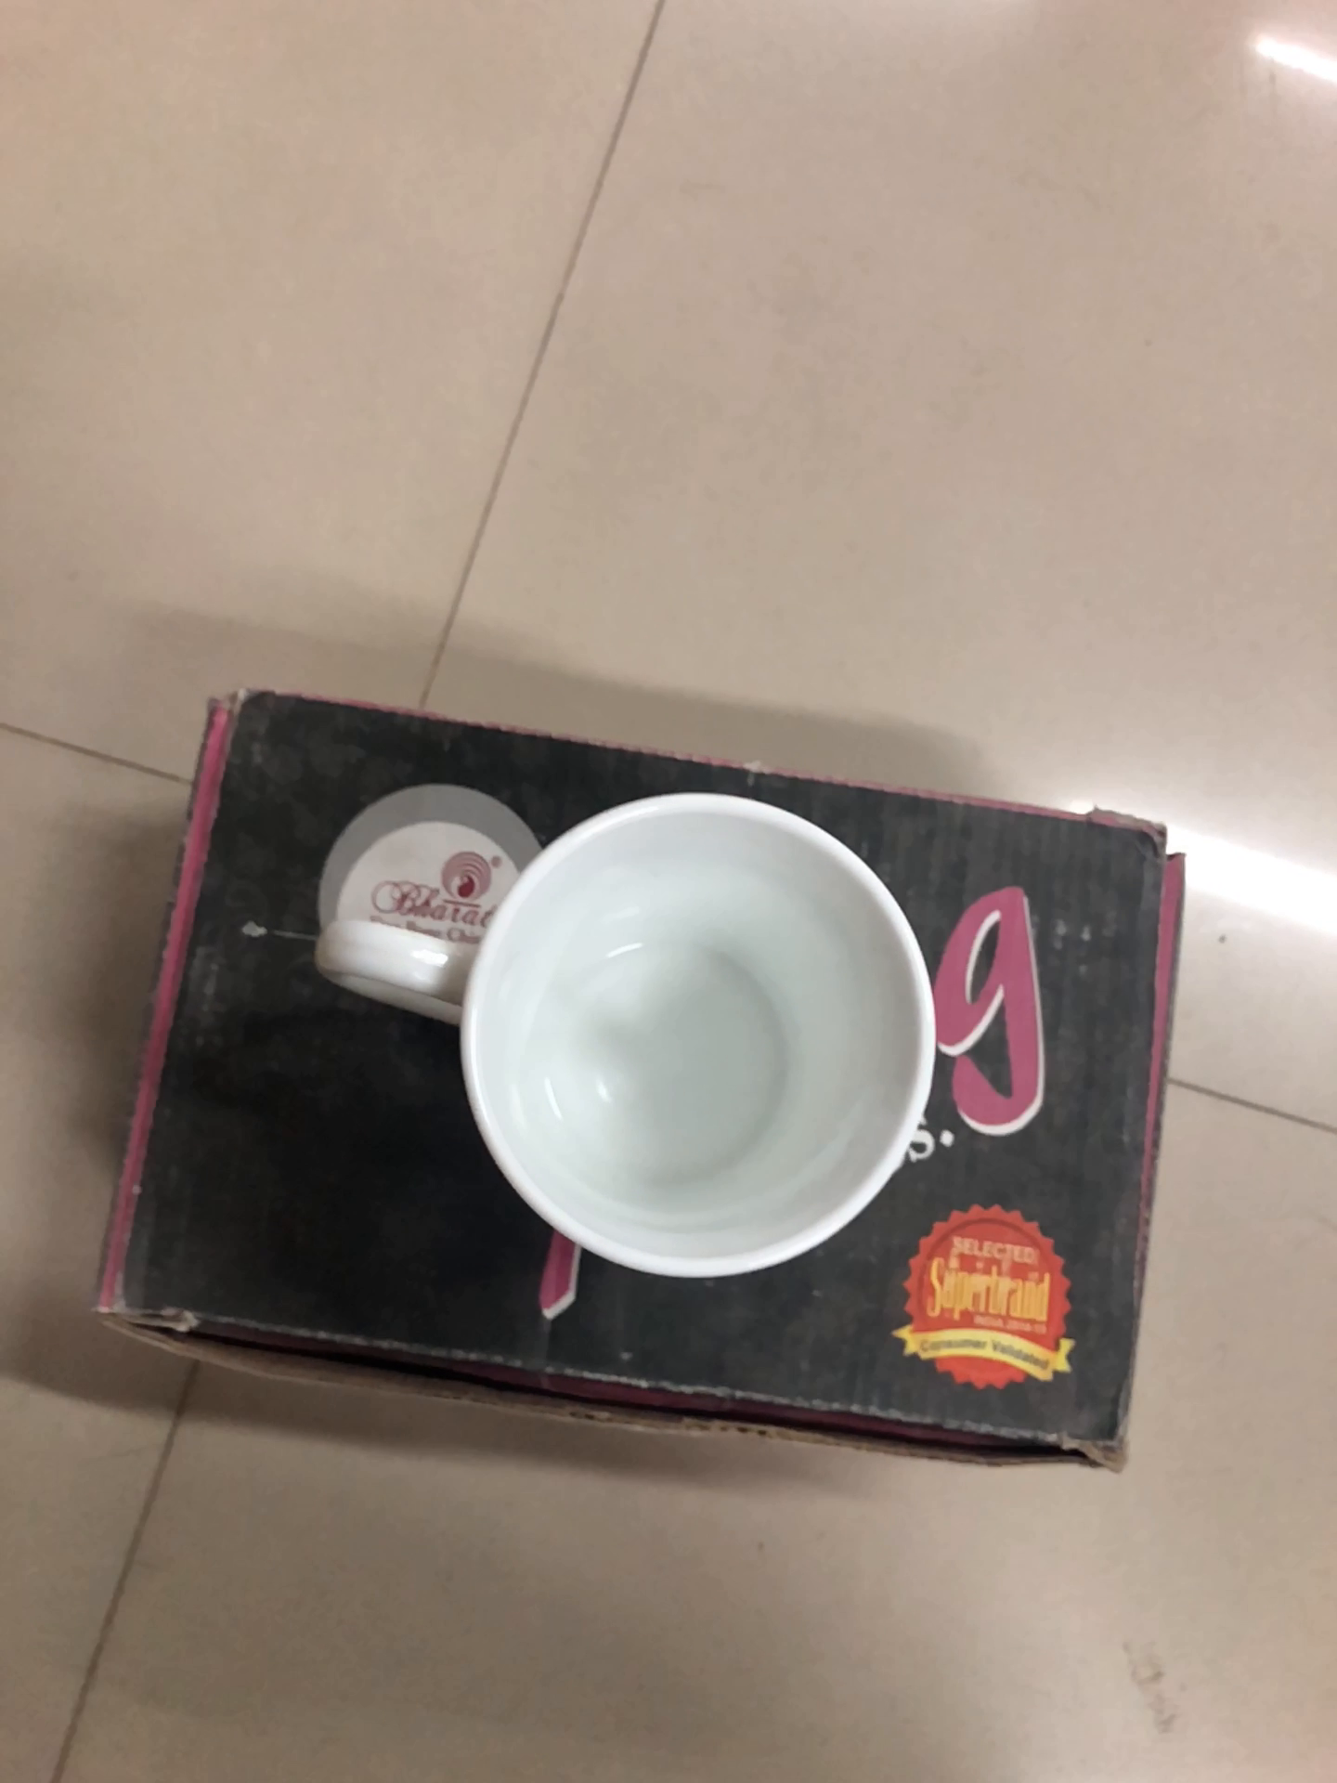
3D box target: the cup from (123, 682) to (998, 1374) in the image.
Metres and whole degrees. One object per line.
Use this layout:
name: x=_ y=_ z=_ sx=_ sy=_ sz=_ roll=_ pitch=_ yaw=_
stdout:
cup: x=-0.018 y=0.029 z=0.284 sx=0.120 sy=0.100 sz=0.080 roll=15 pitch=79 yaw=-1
